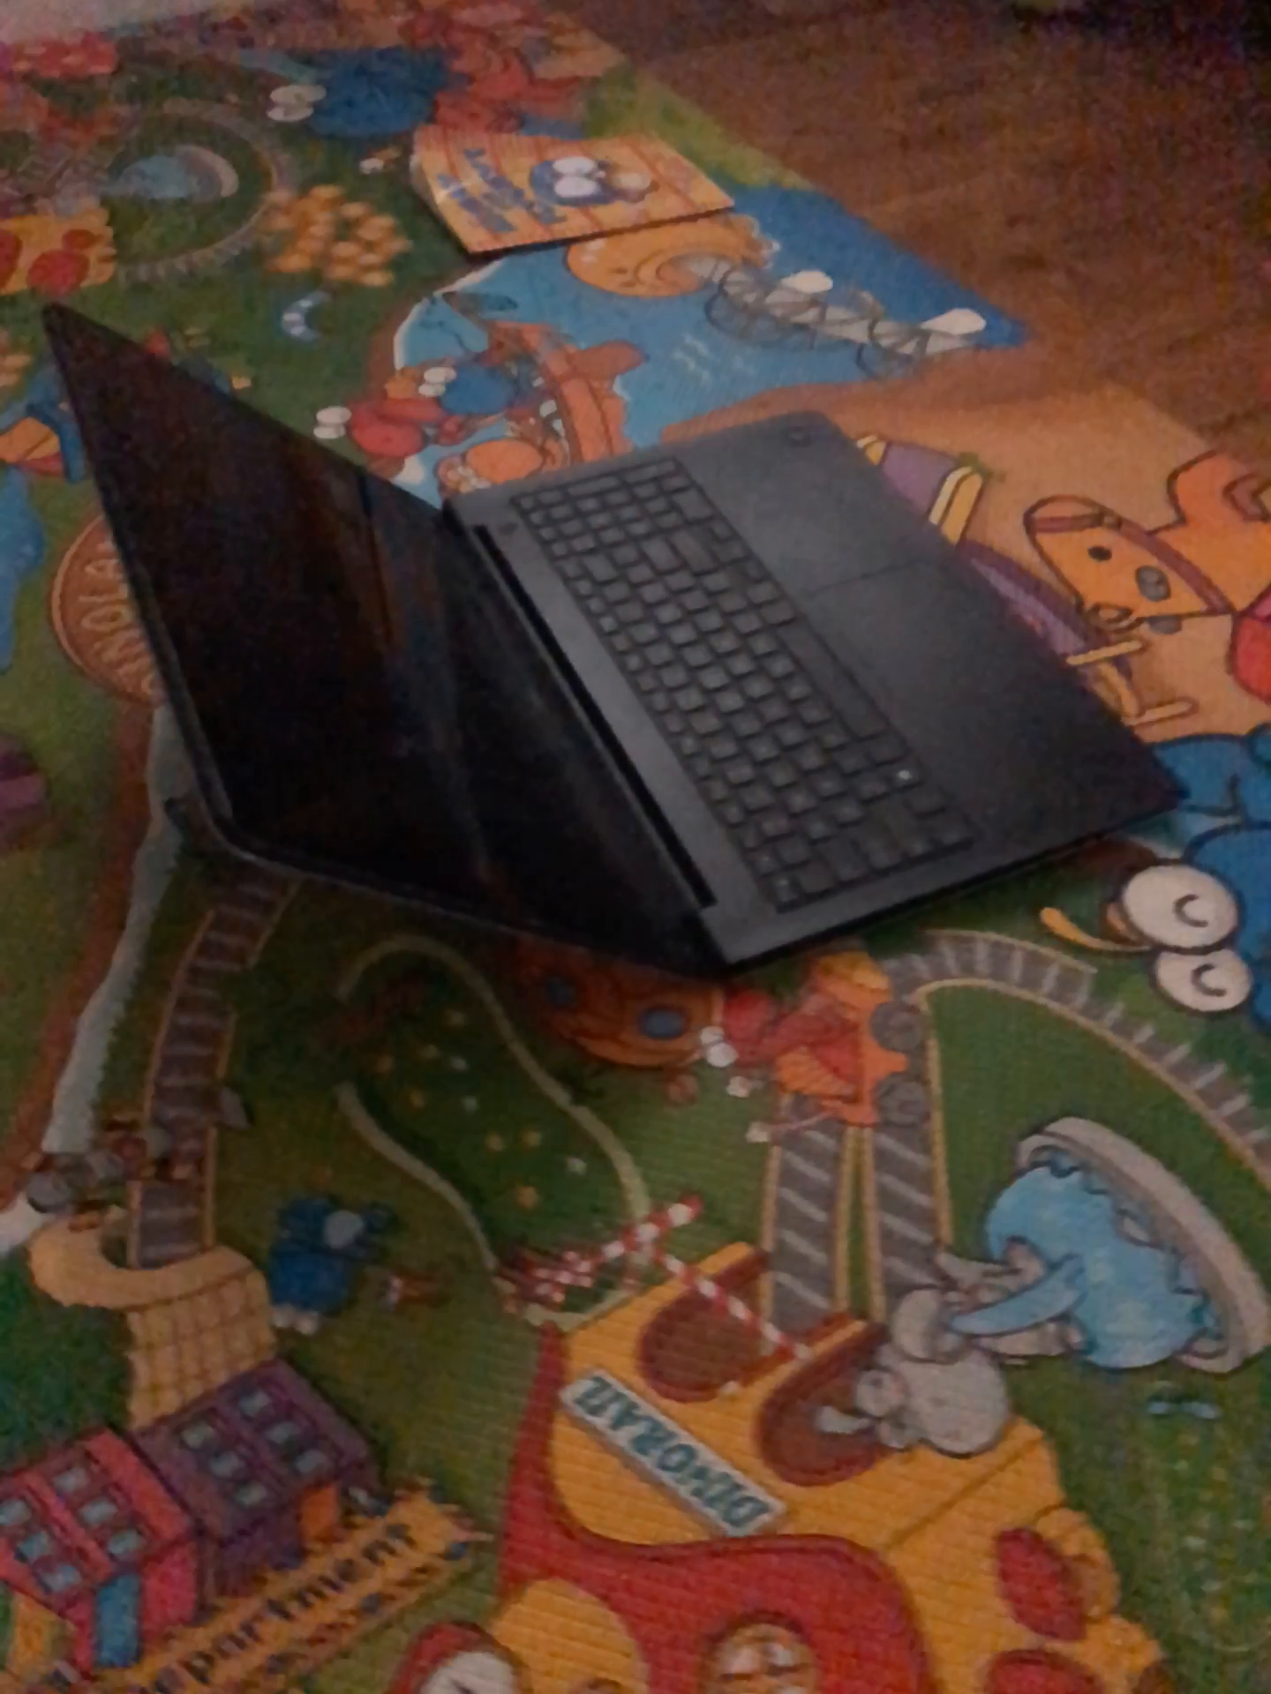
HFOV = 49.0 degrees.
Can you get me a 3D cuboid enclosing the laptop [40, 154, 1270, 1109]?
[{"bbox_3d":[-0.007,-0.140,0.655,0.428,0.158,0.363,-18,51,-17],"label":"laptop"}]
